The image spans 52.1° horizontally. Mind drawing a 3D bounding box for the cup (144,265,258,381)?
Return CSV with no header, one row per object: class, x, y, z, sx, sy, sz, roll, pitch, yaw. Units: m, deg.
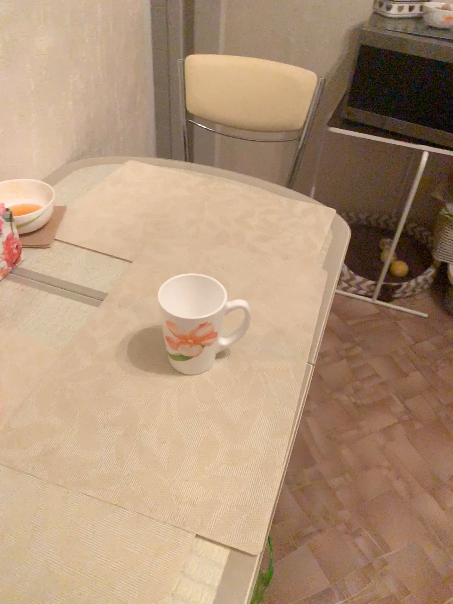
cup,-0.028,0.026,0.555,0.120,0.099,0.091,2,42,-2
